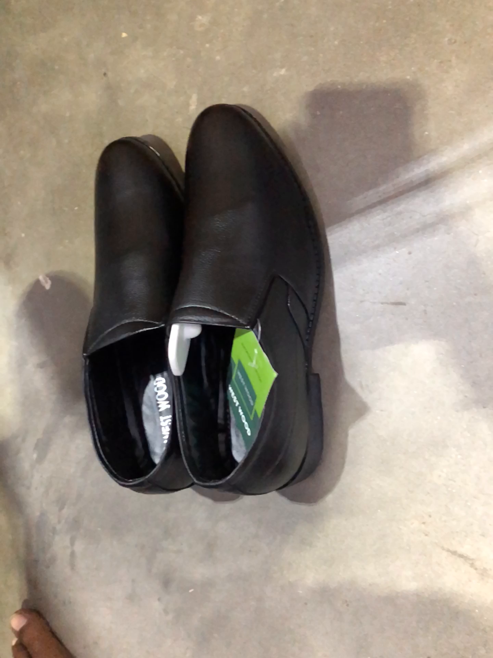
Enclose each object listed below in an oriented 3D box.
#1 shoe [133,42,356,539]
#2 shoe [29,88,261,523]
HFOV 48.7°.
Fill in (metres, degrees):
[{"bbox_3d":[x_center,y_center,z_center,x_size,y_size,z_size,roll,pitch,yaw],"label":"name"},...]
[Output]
[{"bbox_3d":[0.001,-0.021,0.390,0.100,0.090,0.300,-6,88,28],"label":"shoe"},{"bbox_3d":[-0.079,-0.013,0.437,0.100,0.100,0.300,-11,86,28],"label":"shoe"}]
